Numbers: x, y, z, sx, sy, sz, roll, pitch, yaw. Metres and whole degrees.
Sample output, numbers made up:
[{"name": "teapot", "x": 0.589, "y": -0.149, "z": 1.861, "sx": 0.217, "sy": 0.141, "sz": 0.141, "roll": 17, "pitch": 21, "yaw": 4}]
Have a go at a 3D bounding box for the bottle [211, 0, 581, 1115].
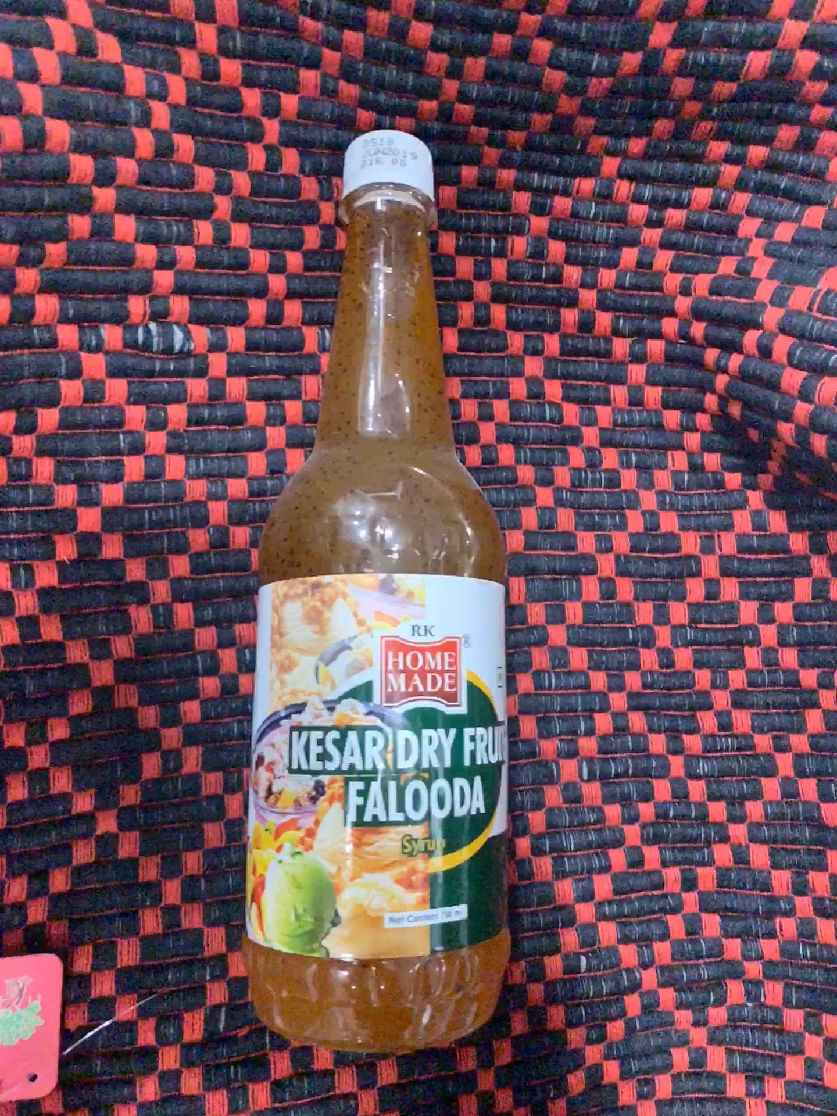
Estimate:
[{"name": "bottle", "x": -0.010, "y": -0.009, "z": 0.237, "sx": 0.080, "sy": 0.070, "sz": 0.260, "roll": 2, "pitch": 81, "yaw": -13}]
